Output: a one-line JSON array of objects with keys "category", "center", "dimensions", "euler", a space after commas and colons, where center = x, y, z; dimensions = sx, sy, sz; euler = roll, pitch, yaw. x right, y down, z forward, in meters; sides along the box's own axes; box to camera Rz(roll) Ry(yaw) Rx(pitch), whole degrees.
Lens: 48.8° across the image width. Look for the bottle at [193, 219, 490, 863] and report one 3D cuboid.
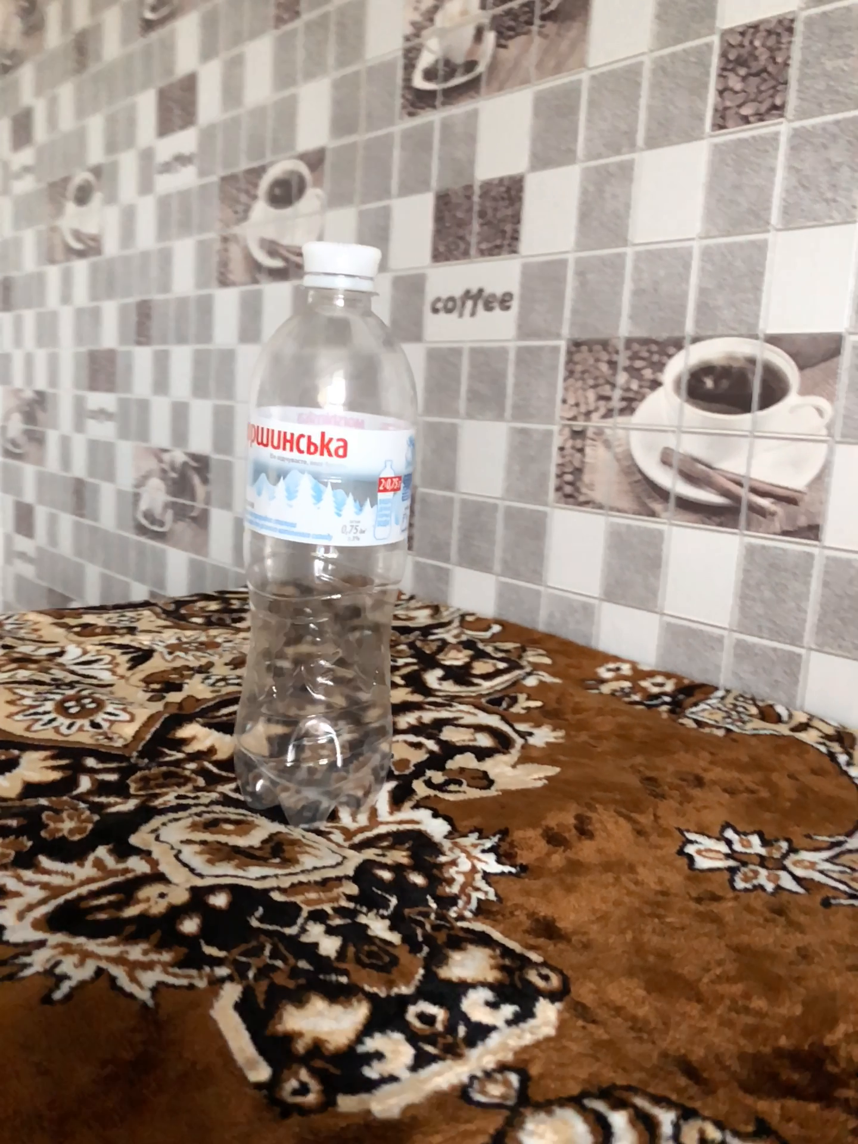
[{"category": "bottle", "center": [-0.043, -0.016, 0.418], "dimensions": [0.080, 0.249, 0.090], "euler": [-7, 16, -42]}]
